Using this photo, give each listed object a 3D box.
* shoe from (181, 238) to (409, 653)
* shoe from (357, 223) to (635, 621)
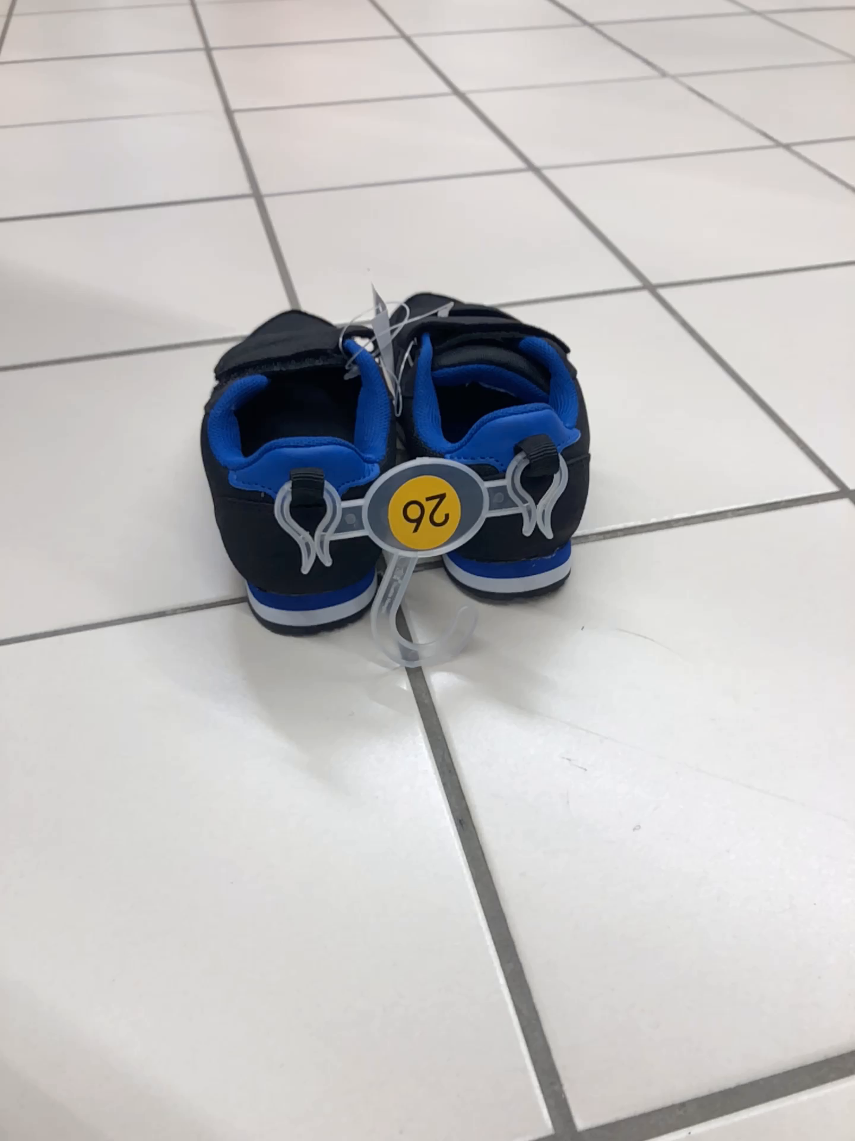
[{"bbox_3d":[-0.053,-0.059,0.375,0.067,0.073,0.175,-6,42,-7],"label":"shoe"},{"bbox_3d":[0.018,-0.070,0.387,0.067,0.073,0.175,-7,42,-8],"label":"shoe"}]
